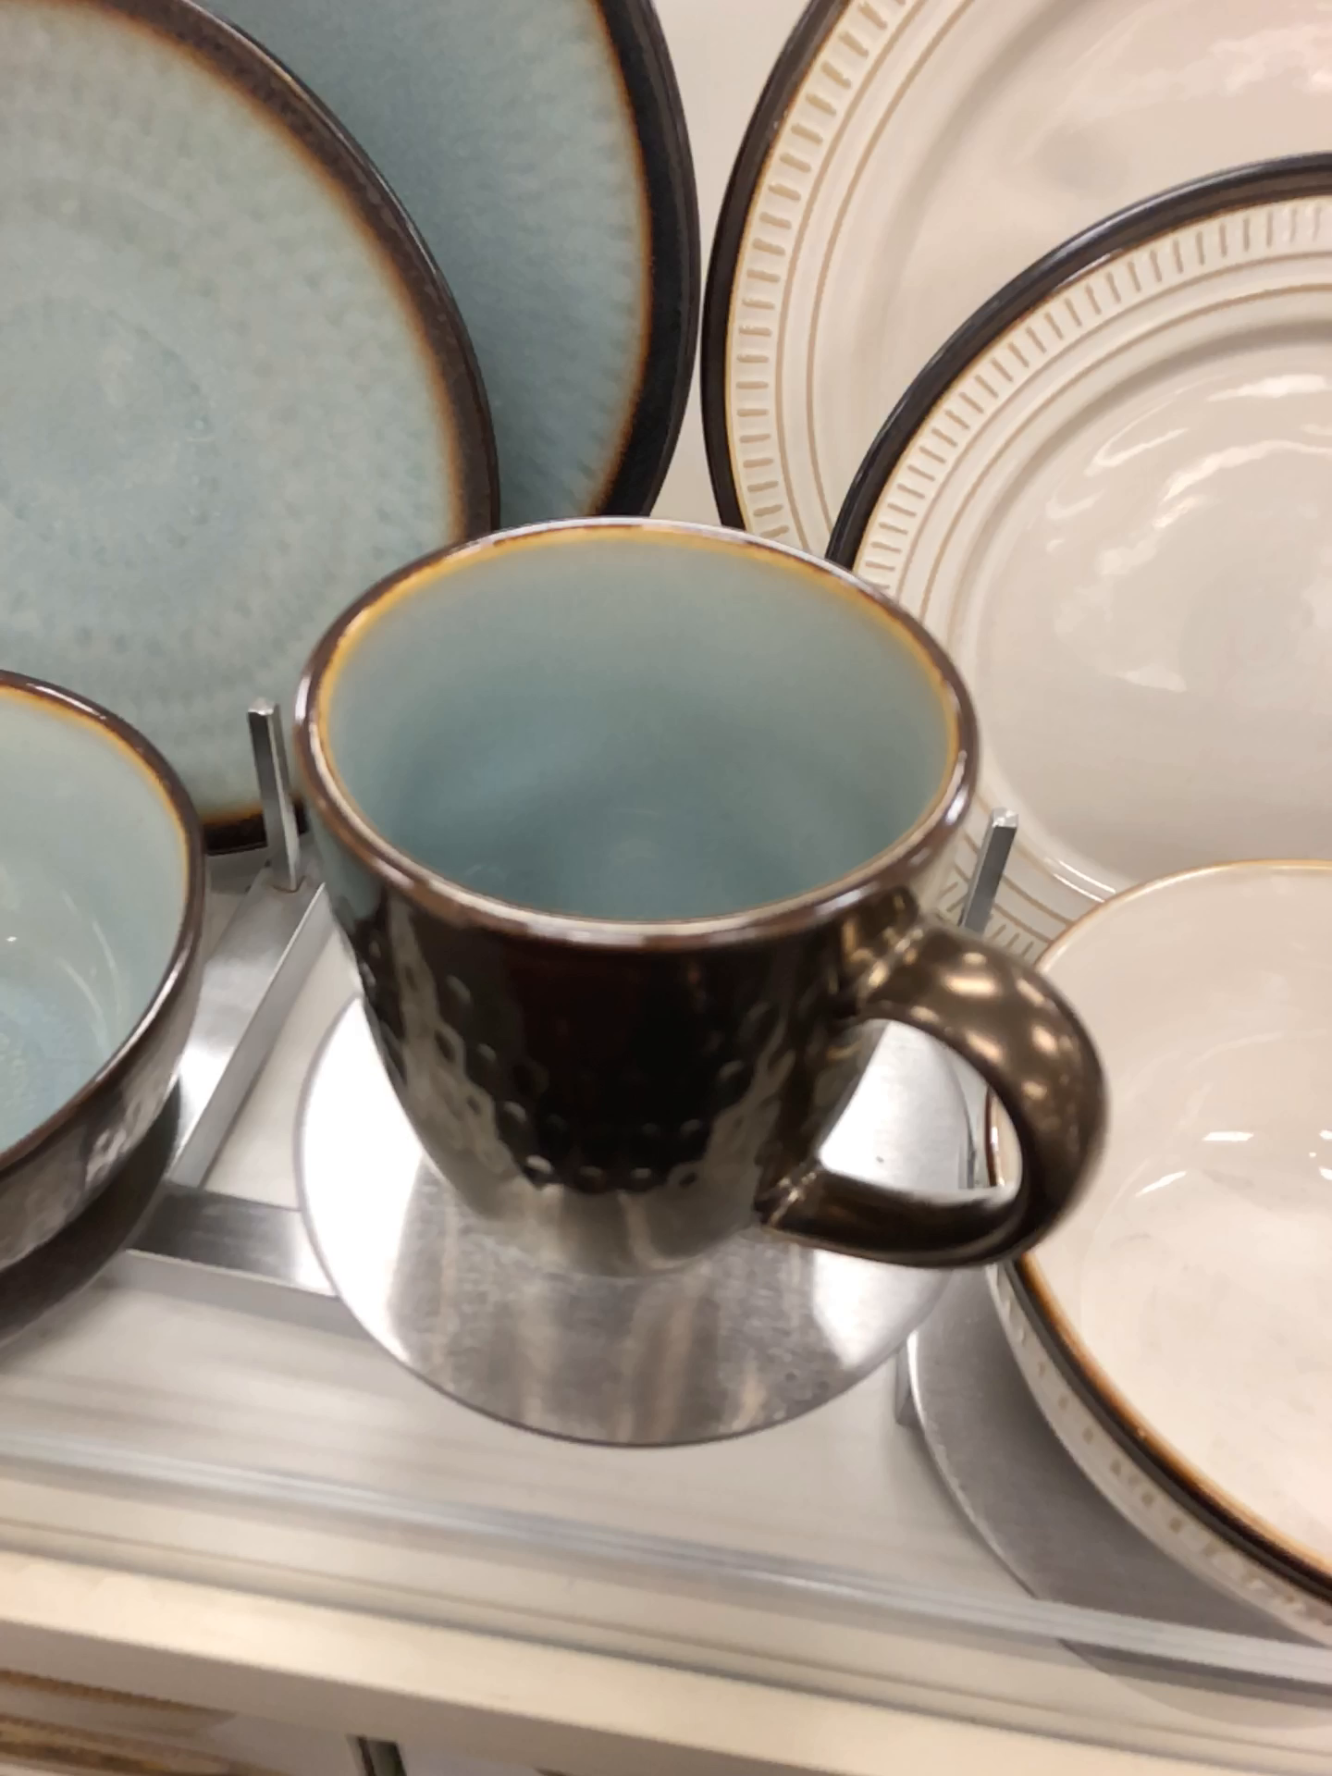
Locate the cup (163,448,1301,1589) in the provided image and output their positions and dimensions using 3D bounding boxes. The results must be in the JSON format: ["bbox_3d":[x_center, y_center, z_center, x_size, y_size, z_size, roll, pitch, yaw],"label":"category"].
[{"bbox_3d":[0.006,0.016,0.222,0.117,0.100,0.083,30,52,22],"label":"cup"}]
